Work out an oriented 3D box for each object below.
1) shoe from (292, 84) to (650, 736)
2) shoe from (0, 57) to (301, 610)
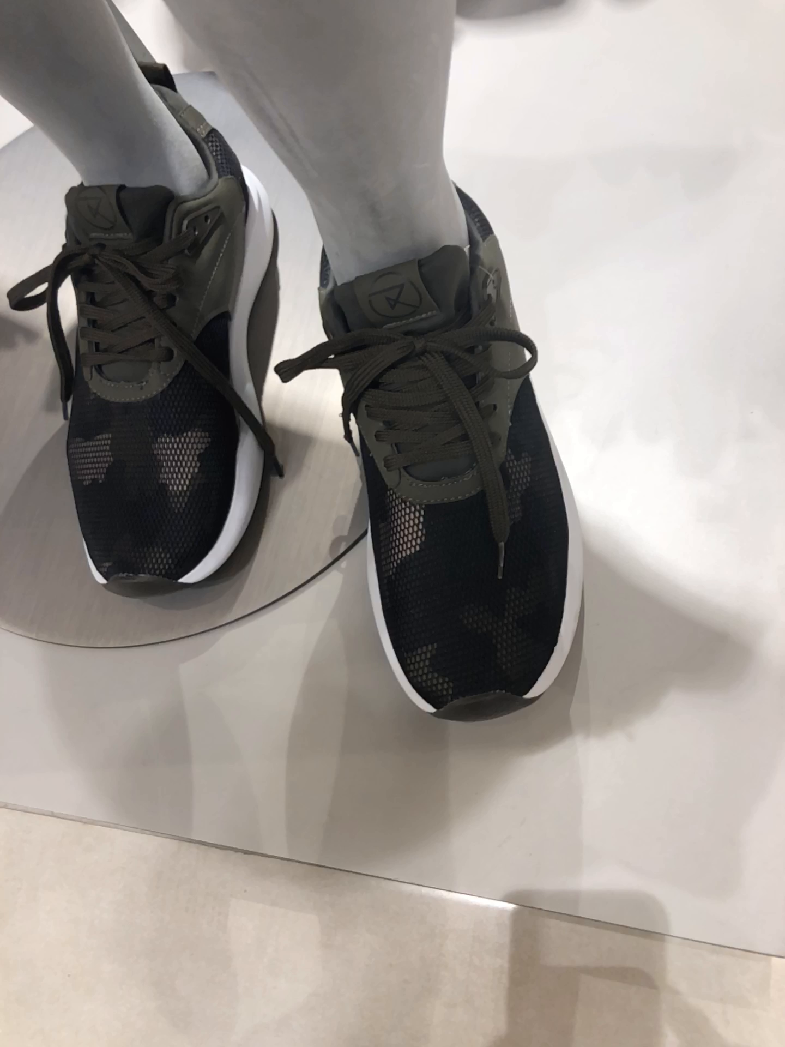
[{"bbox_3d":[0.033,-0.051,0.423,0.110,0.110,0.281,-11,70,8],"label":"shoe"},{"bbox_3d":[-0.125,-0.094,0.467,0.100,0.120,0.260,-1,72,11],"label":"shoe"}]
